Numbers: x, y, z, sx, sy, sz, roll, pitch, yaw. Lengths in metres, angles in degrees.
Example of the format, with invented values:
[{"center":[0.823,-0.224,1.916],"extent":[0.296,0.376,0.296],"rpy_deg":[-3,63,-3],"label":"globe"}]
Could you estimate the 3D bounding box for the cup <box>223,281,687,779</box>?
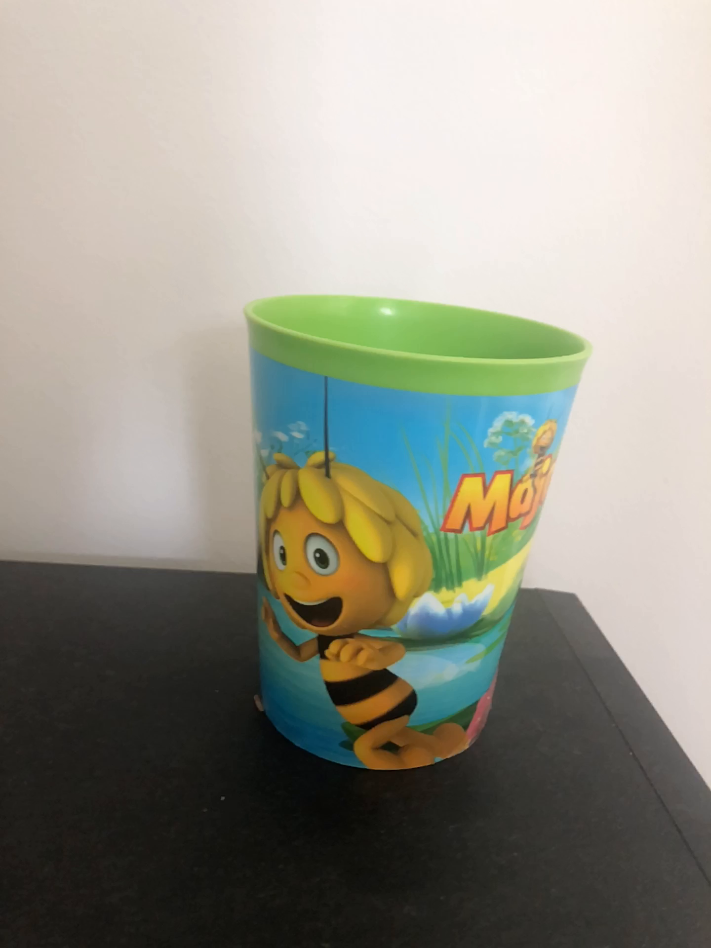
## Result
[{"center":[0.011,0.007,0.192],"extent":[0.080,0.090,0.080],"rpy_deg":[6,18,-2],"label":"cup"}]
